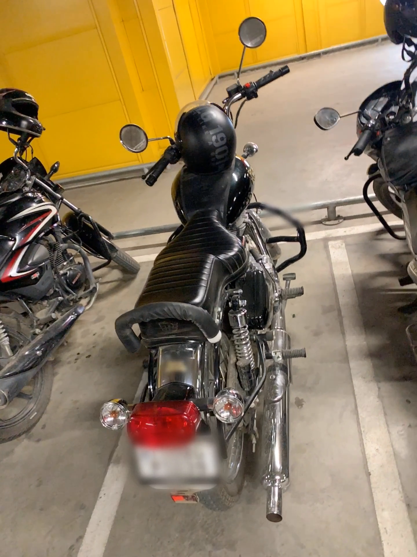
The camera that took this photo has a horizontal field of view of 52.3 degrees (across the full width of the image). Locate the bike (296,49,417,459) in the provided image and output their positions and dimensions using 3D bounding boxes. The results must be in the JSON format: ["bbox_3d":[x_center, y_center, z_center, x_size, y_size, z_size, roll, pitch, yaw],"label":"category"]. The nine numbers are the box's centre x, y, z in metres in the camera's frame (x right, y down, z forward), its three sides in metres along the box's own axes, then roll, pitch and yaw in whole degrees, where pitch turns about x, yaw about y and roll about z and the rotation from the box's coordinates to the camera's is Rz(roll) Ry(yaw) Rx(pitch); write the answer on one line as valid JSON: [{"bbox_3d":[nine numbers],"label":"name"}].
[{"bbox_3d":[0.788,-0.310,1.760,0.599,0.924,1.725,-8,31,11],"label":"bike"}]

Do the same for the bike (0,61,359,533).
[{"bbox_3d":[-0.073,-0.165,1.819,0.764,1.050,1.833,-11,32,8],"label":"bike"}]
